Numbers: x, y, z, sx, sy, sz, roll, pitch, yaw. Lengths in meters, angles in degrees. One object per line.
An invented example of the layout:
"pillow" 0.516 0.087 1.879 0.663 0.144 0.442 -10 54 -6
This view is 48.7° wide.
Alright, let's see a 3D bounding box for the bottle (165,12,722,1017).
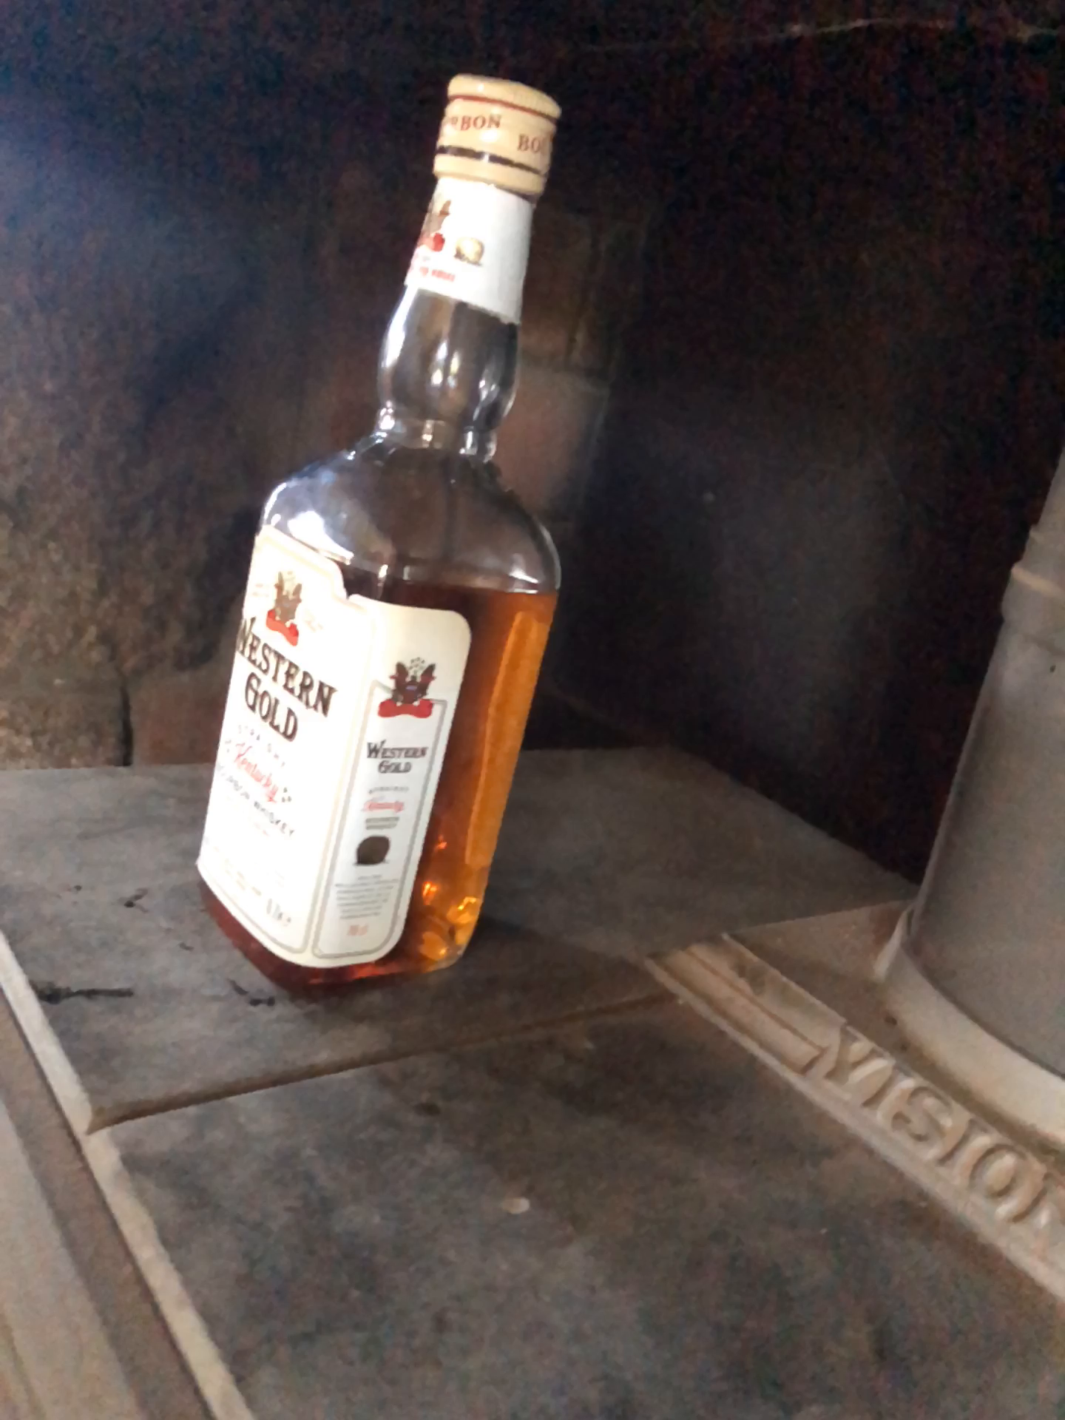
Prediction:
"bottle" -0.035 -0.050 0.345 0.080 0.249 0.090 -1 20 -40
